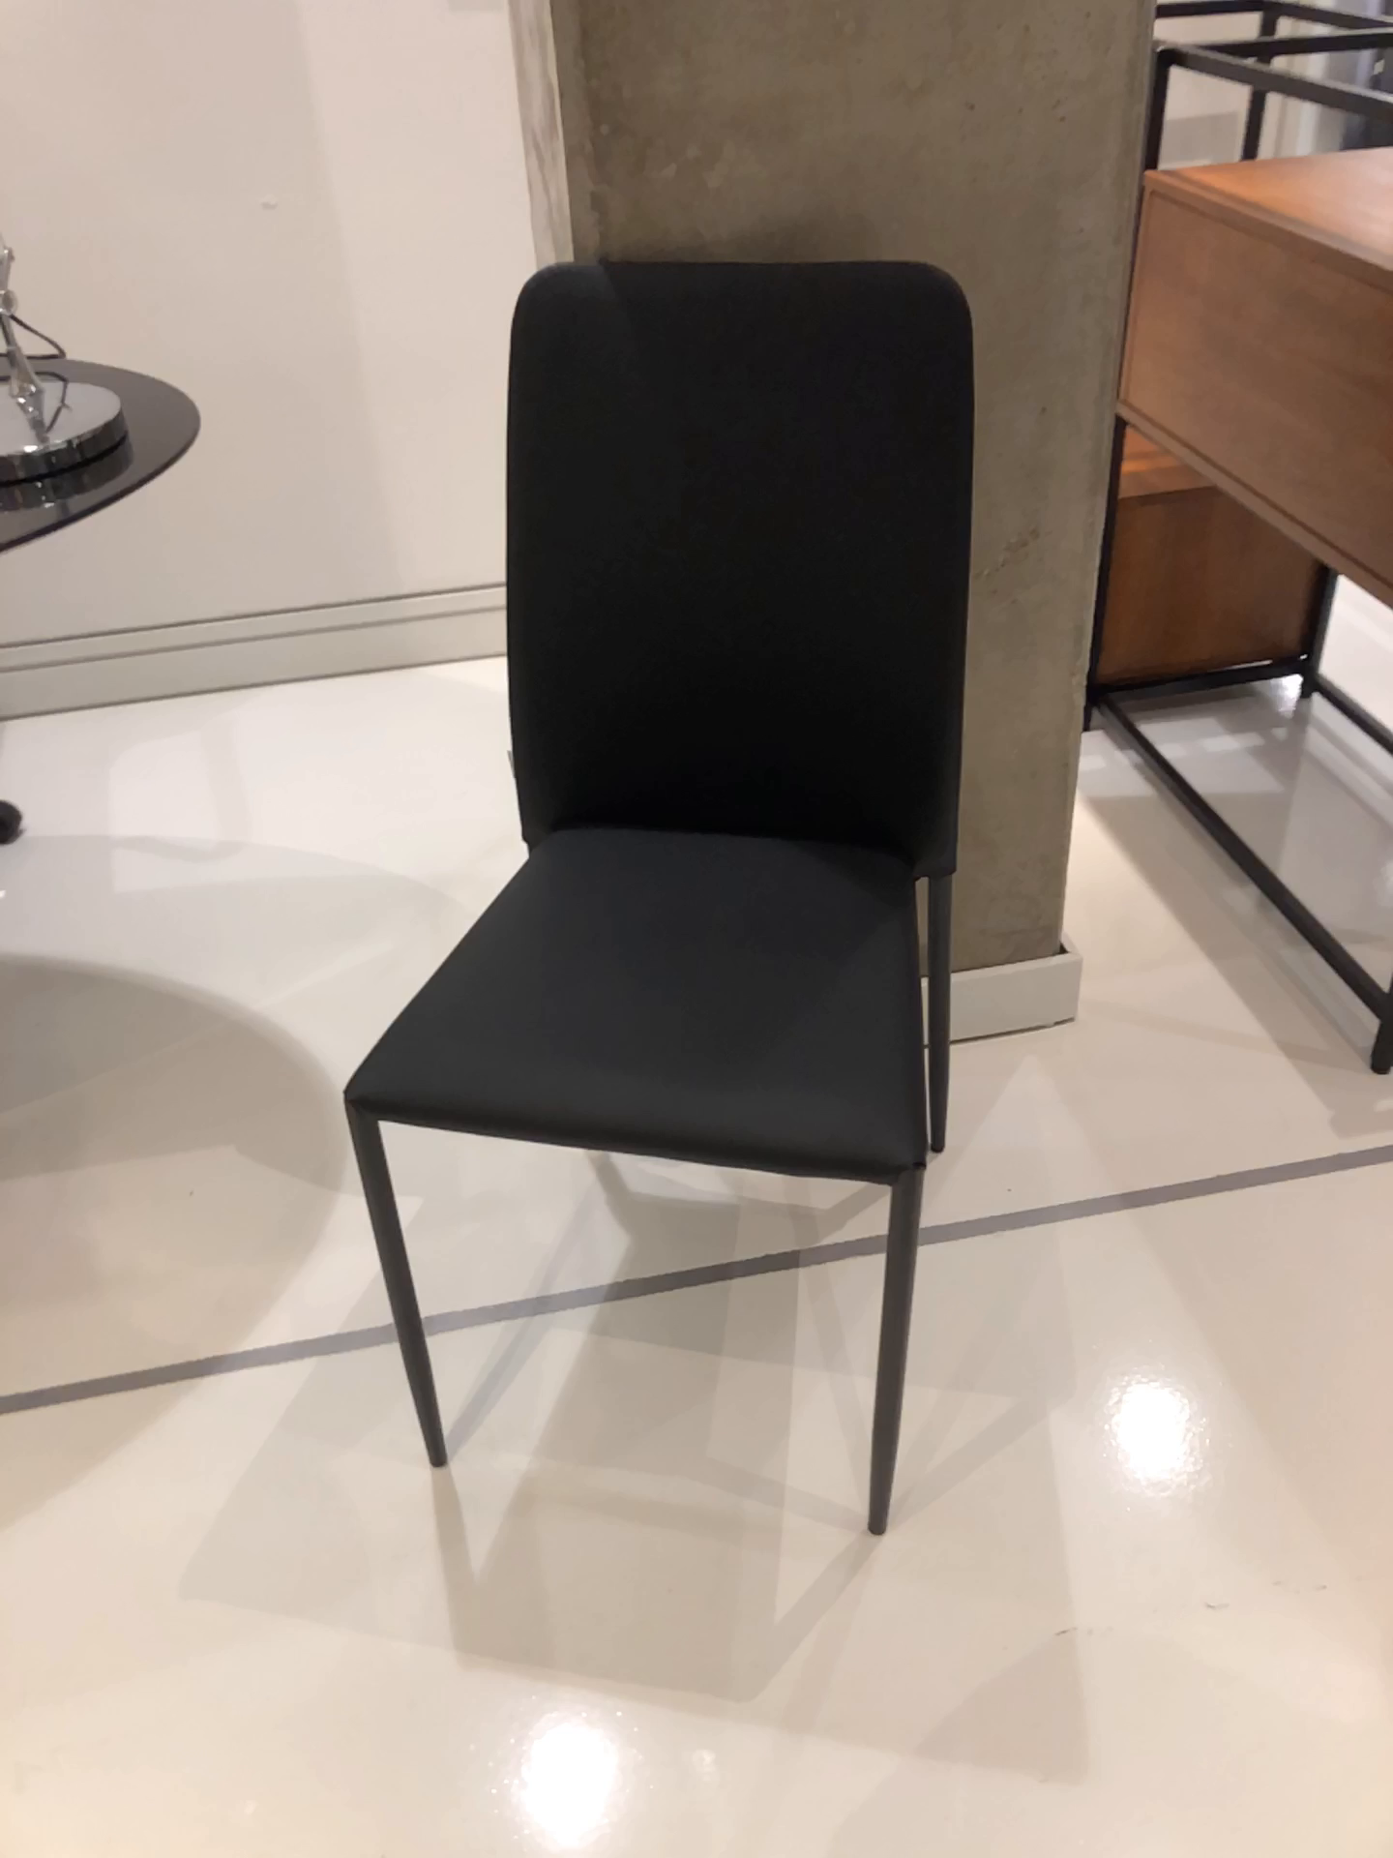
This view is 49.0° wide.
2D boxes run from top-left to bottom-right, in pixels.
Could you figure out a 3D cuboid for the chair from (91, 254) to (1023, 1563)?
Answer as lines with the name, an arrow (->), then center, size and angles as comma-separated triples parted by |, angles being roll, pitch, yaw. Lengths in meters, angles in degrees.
chair -> -0.018, -0.021, 1.261 | 0.470, 0.883, 0.544 | 5, 36, 13
